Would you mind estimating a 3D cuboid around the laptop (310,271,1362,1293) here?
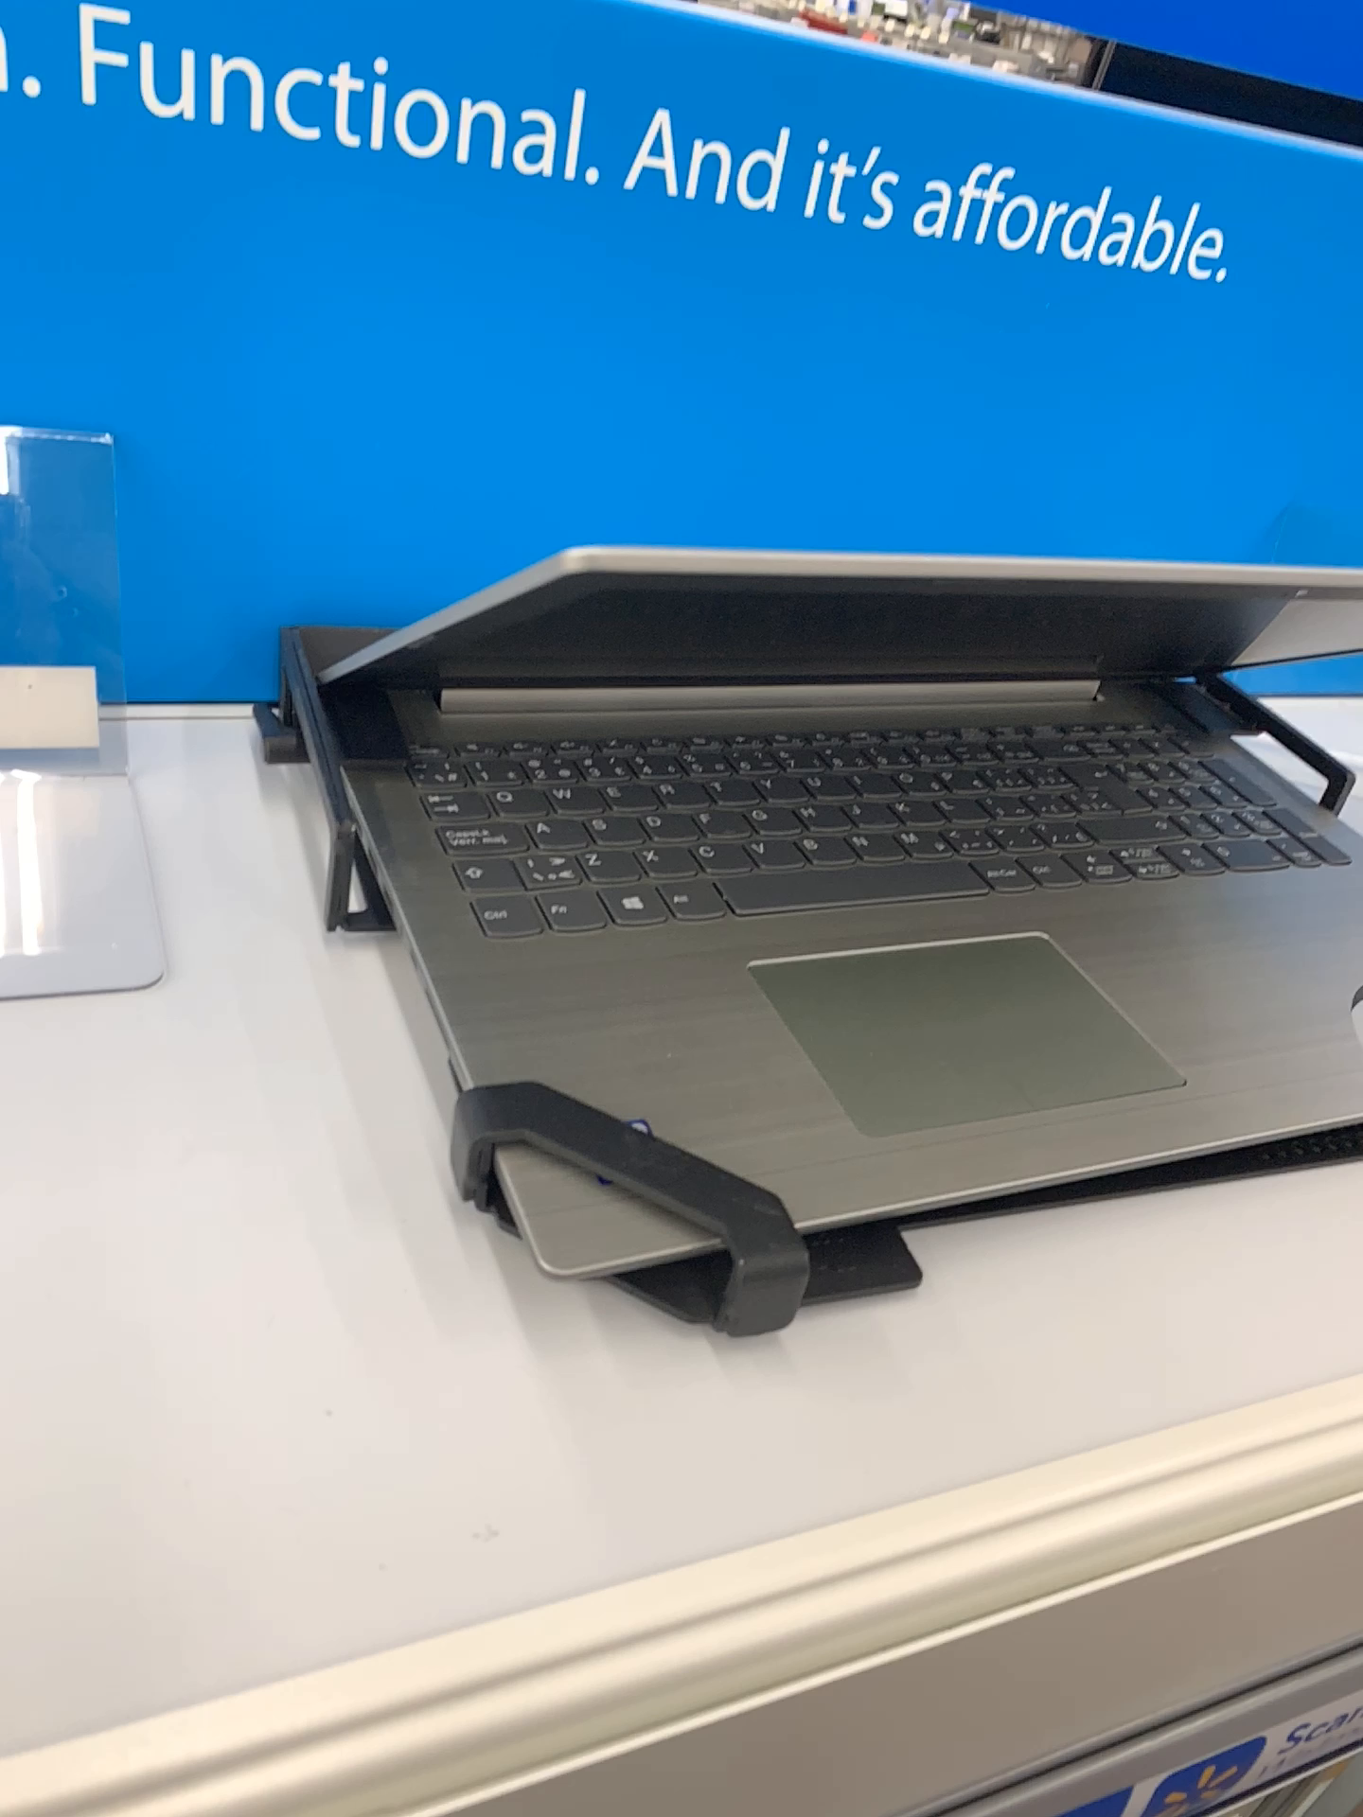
[{"bbox_3d":[0.091,-0.058,0.367,0.327,0.115,0.230,-4,36,-25],"label":"laptop"}]
